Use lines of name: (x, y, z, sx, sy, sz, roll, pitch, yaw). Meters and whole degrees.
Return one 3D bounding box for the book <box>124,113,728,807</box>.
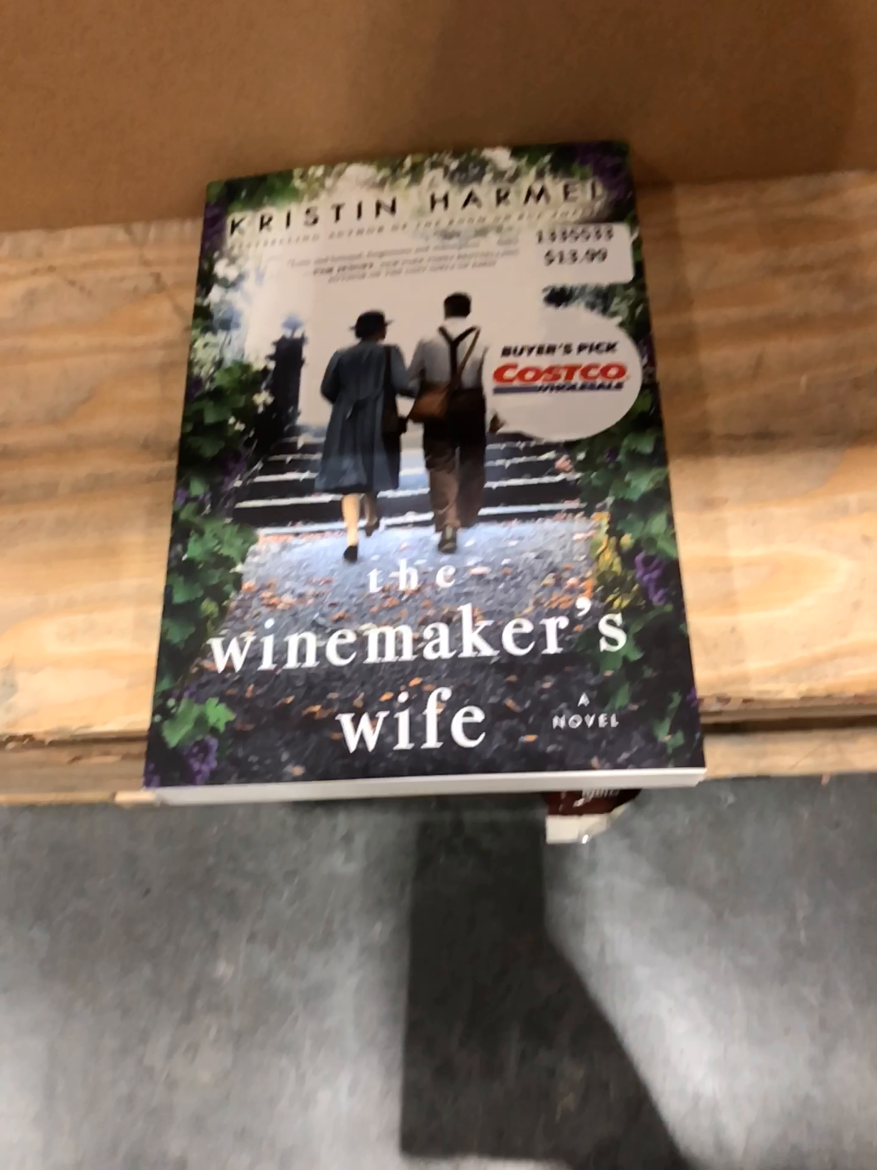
book: (-0.004, -0.049, 0.314, 0.154, 0.035, 0.230, -3, 63, 7)
